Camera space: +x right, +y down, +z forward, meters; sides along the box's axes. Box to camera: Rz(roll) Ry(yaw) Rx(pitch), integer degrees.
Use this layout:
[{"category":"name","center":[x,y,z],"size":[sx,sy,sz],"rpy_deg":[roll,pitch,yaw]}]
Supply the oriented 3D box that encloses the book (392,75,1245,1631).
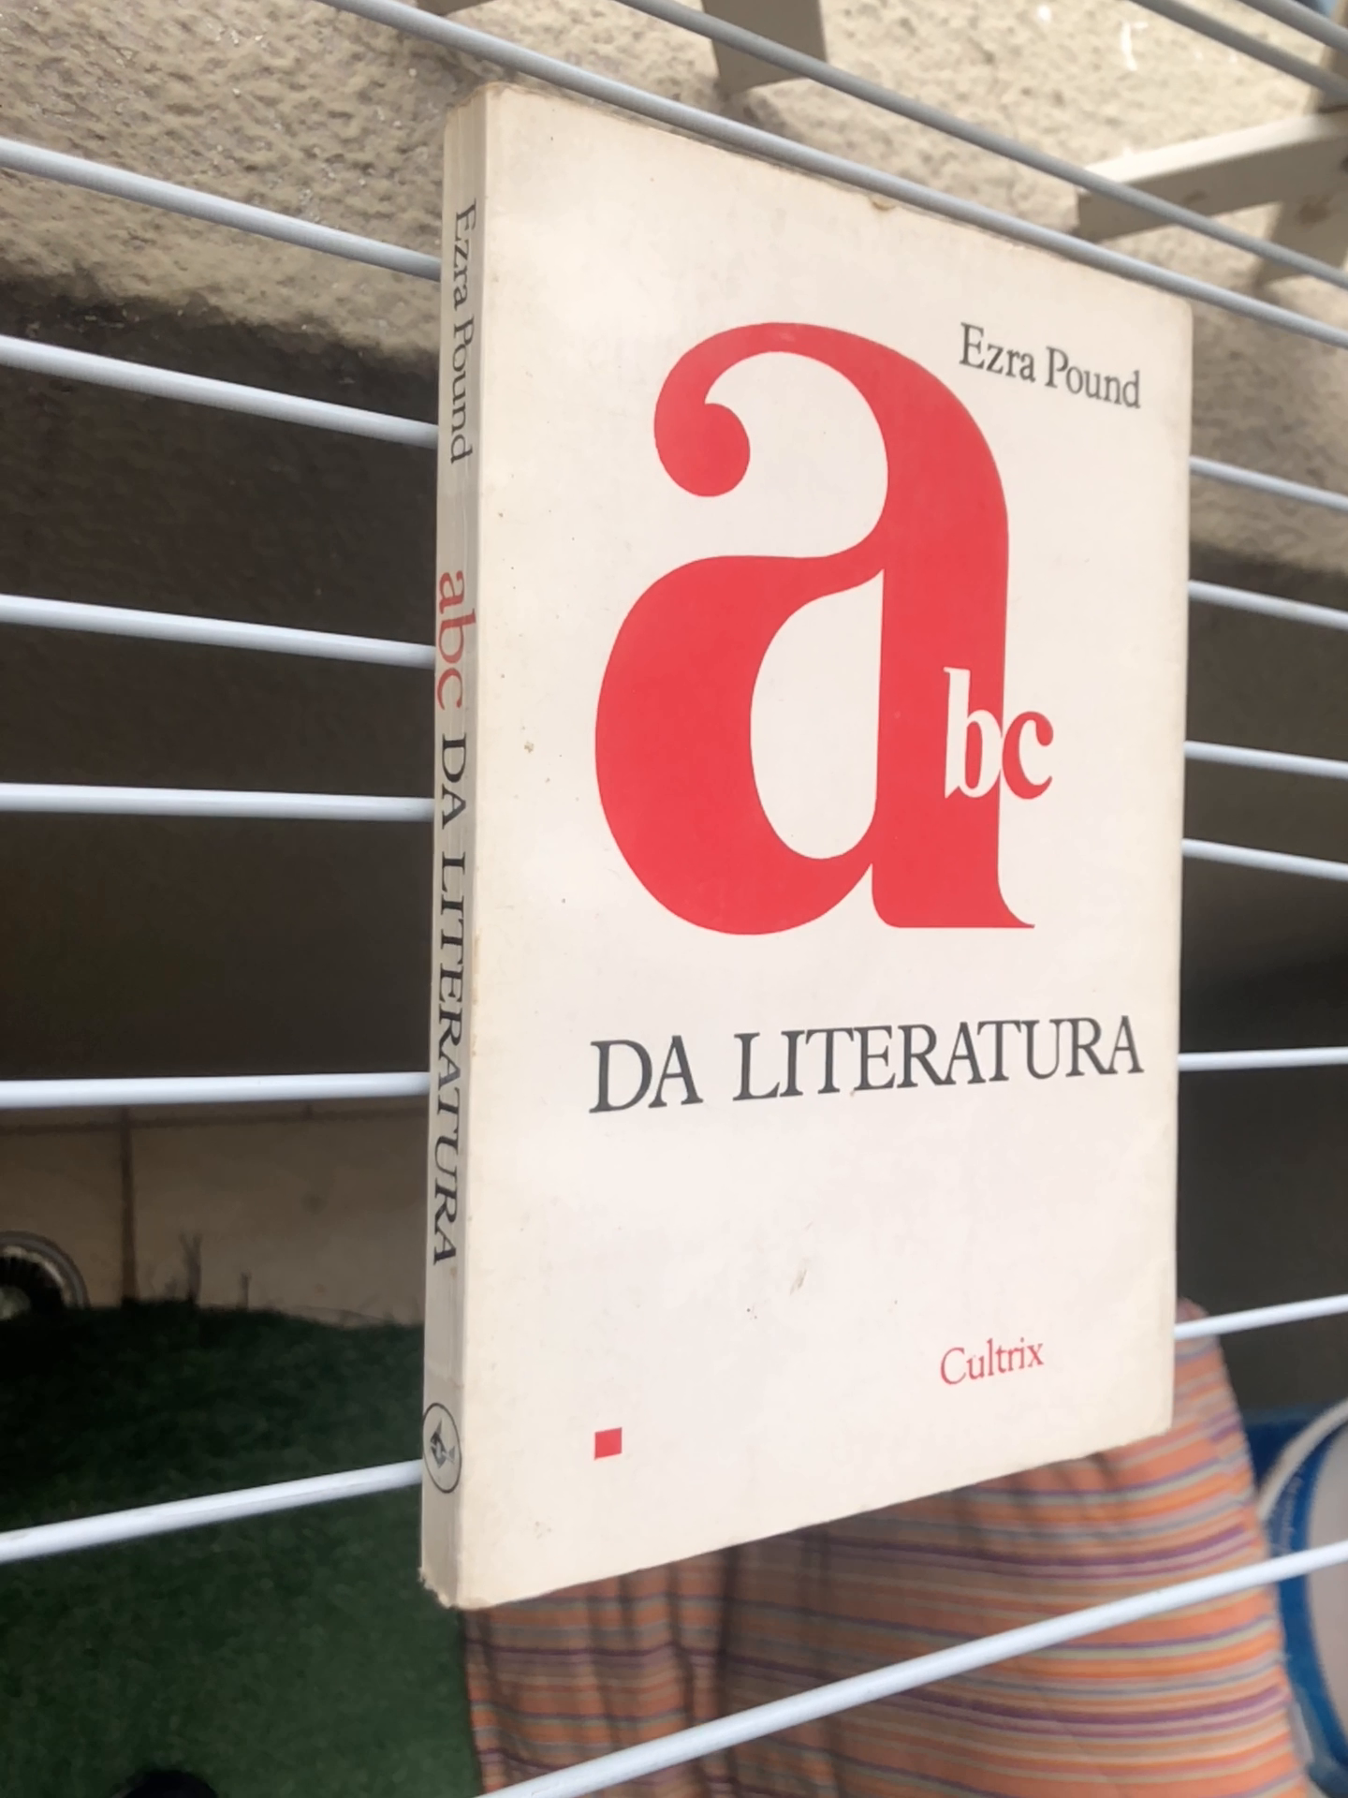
[{"category":"book","center":[0.029,-0.004,0.225],"size":[0.141,0.017,0.187],"rpy_deg":[0,92,-32]}]
